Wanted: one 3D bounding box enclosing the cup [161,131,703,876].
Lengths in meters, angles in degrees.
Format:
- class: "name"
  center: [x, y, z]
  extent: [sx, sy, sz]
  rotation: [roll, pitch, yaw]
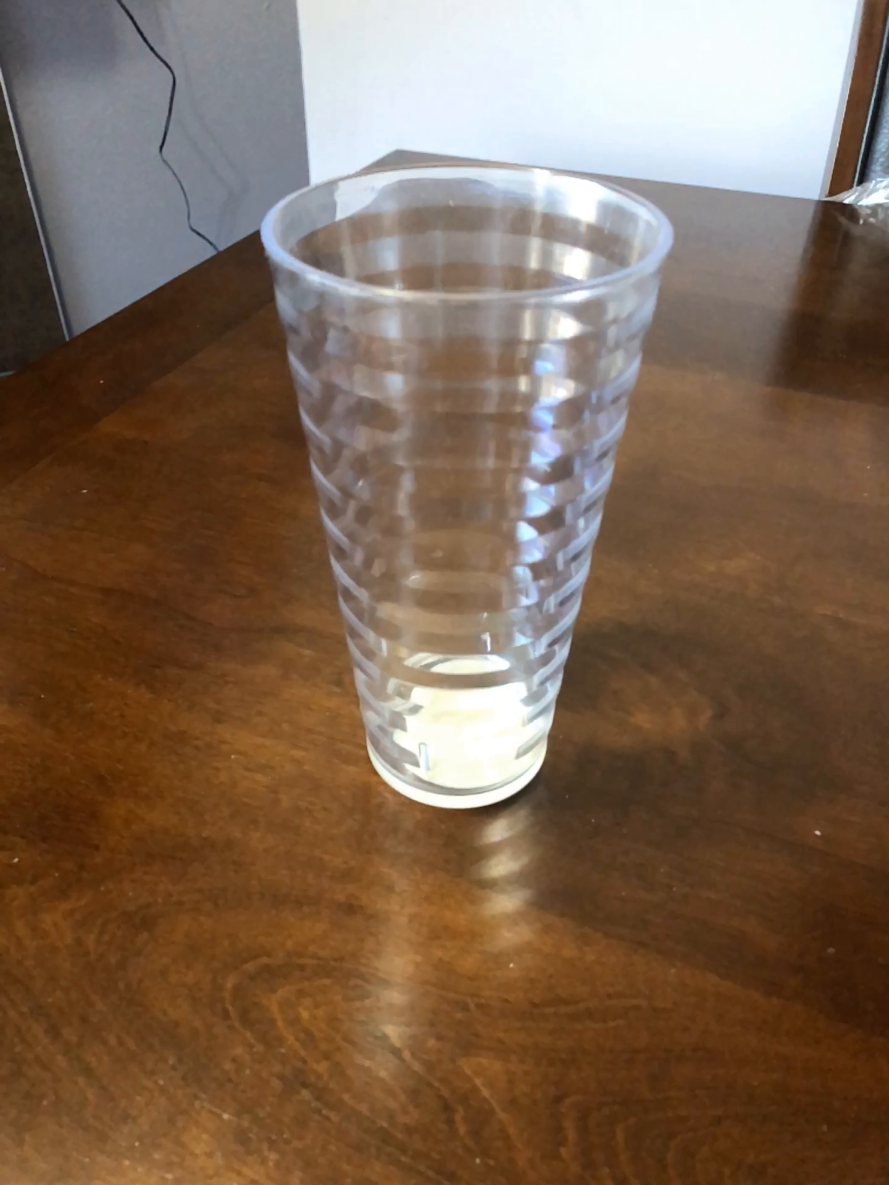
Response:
- class: "cup"
  center: [0.003, -0.025, 0.294]
  extent: [0.100, 0.179, 0.100]
  rotation: [0, 38, 0]
